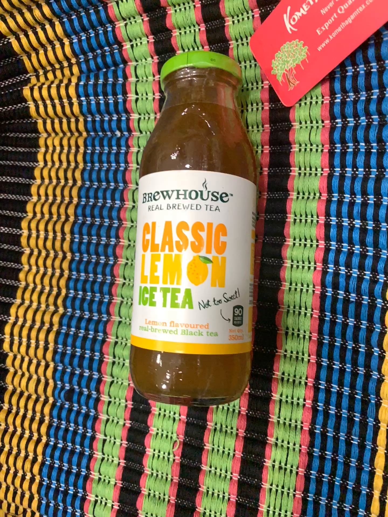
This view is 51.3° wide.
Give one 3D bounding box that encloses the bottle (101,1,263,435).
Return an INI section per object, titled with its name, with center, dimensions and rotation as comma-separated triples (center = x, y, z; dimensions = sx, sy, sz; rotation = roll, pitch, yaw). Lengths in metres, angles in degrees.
[bottle]
center = -0.001, -0.019, 0.198
dimensions = 0.060, 0.050, 0.180
rotation = 0, 84, 17
